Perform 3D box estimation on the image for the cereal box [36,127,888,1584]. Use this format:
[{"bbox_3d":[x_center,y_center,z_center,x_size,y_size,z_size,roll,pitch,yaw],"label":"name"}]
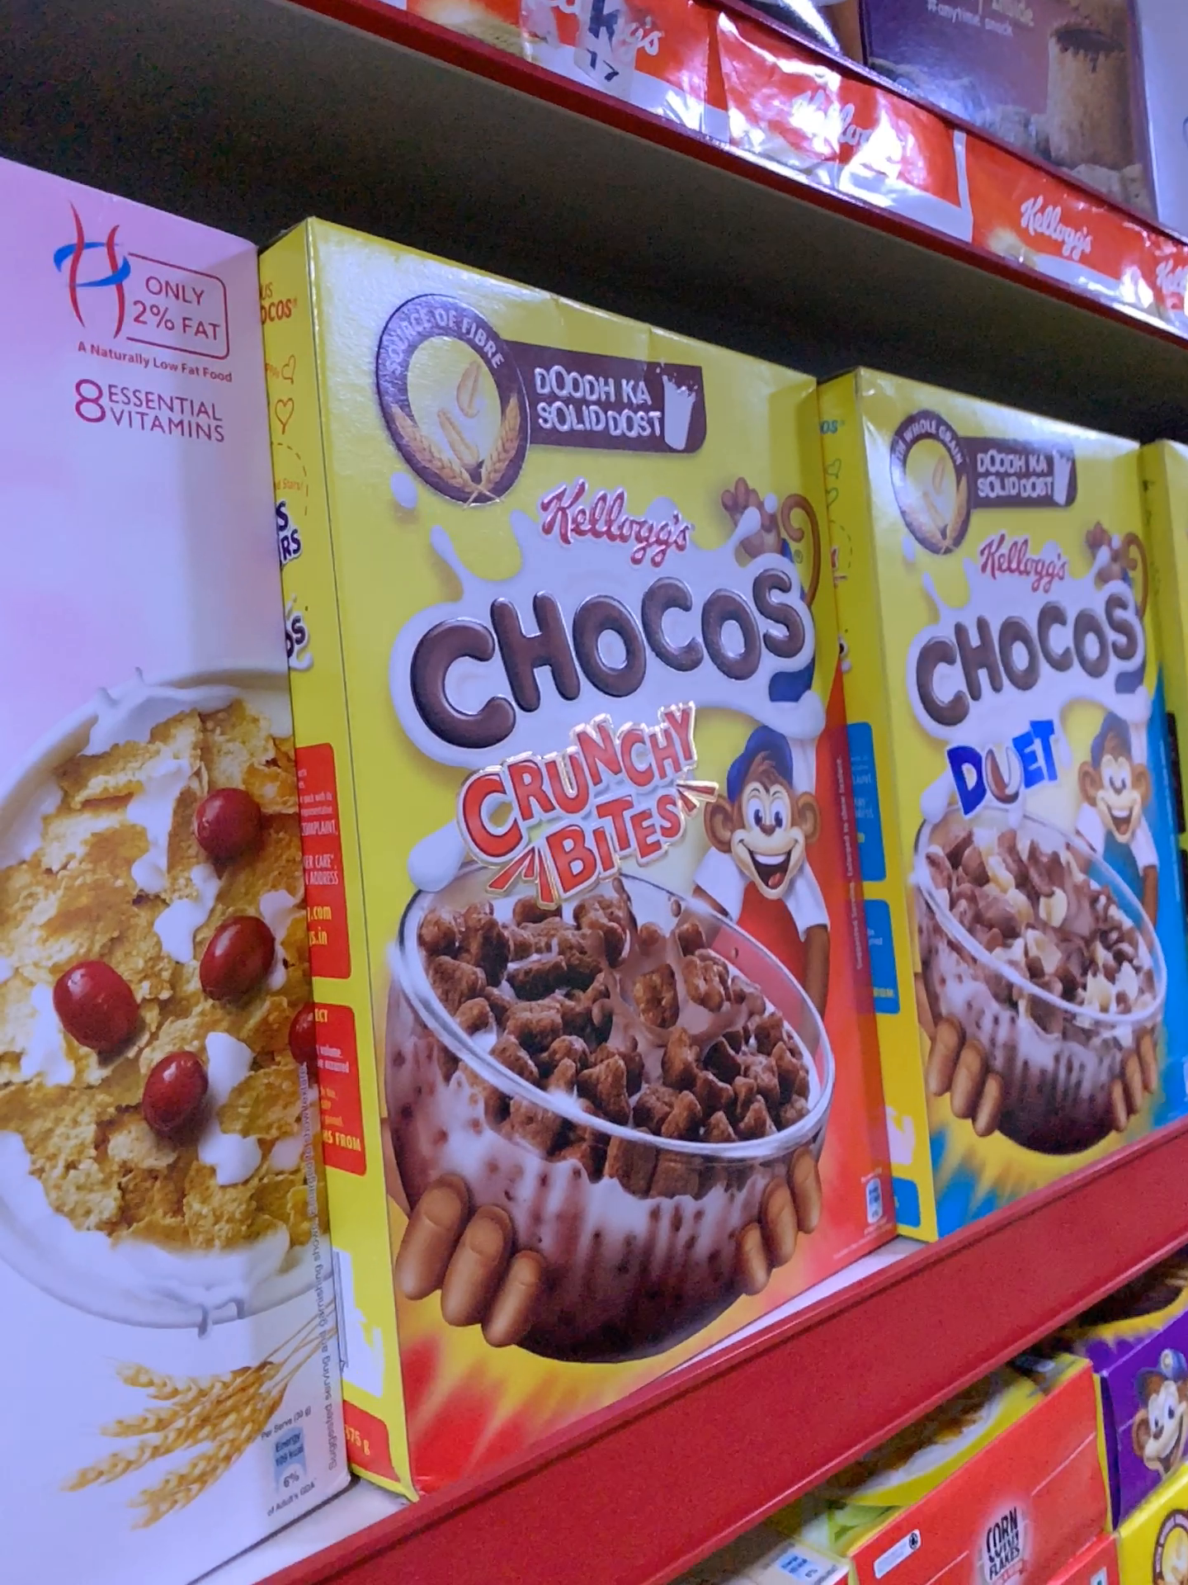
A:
[{"bbox_3d":[-0.019,0.009,0.315,0.080,0.260,0.190,-7,-2,40],"label":"cereal box"}]
